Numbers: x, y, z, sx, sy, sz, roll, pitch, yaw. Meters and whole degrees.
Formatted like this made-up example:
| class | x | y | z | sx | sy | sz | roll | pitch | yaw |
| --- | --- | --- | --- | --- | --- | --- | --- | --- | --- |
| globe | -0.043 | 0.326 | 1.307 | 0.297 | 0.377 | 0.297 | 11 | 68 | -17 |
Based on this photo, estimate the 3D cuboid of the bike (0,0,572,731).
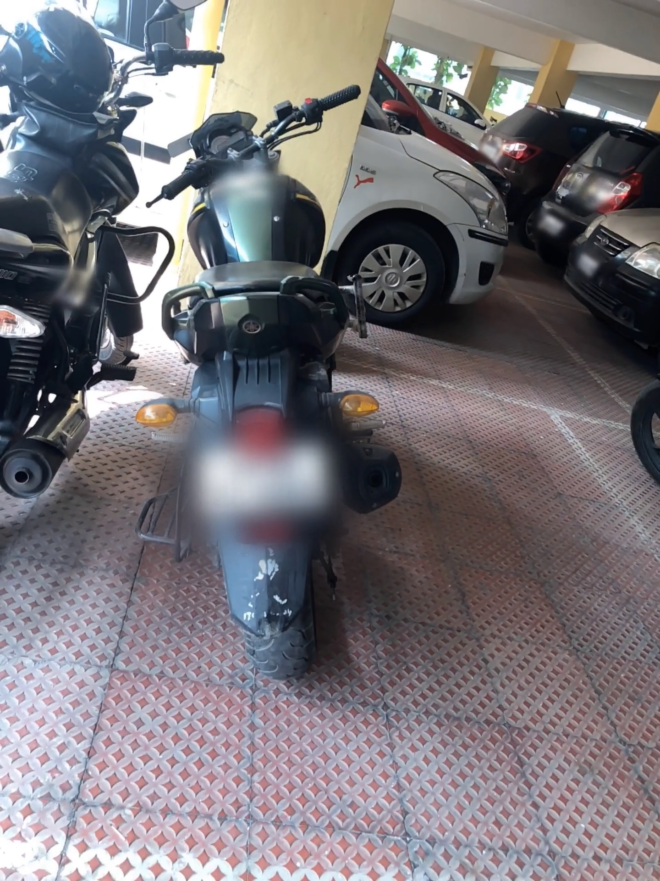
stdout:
| class | x | y | z | sx | sy | sz | roll | pitch | yaw |
| --- | --- | --- | --- | --- | --- | --- | --- | --- | --- |
| bike | -0.350 | -0.360 | 1.914 | 0.738 | 1.091 | 1.816 | 9 | 25 | -16 |
